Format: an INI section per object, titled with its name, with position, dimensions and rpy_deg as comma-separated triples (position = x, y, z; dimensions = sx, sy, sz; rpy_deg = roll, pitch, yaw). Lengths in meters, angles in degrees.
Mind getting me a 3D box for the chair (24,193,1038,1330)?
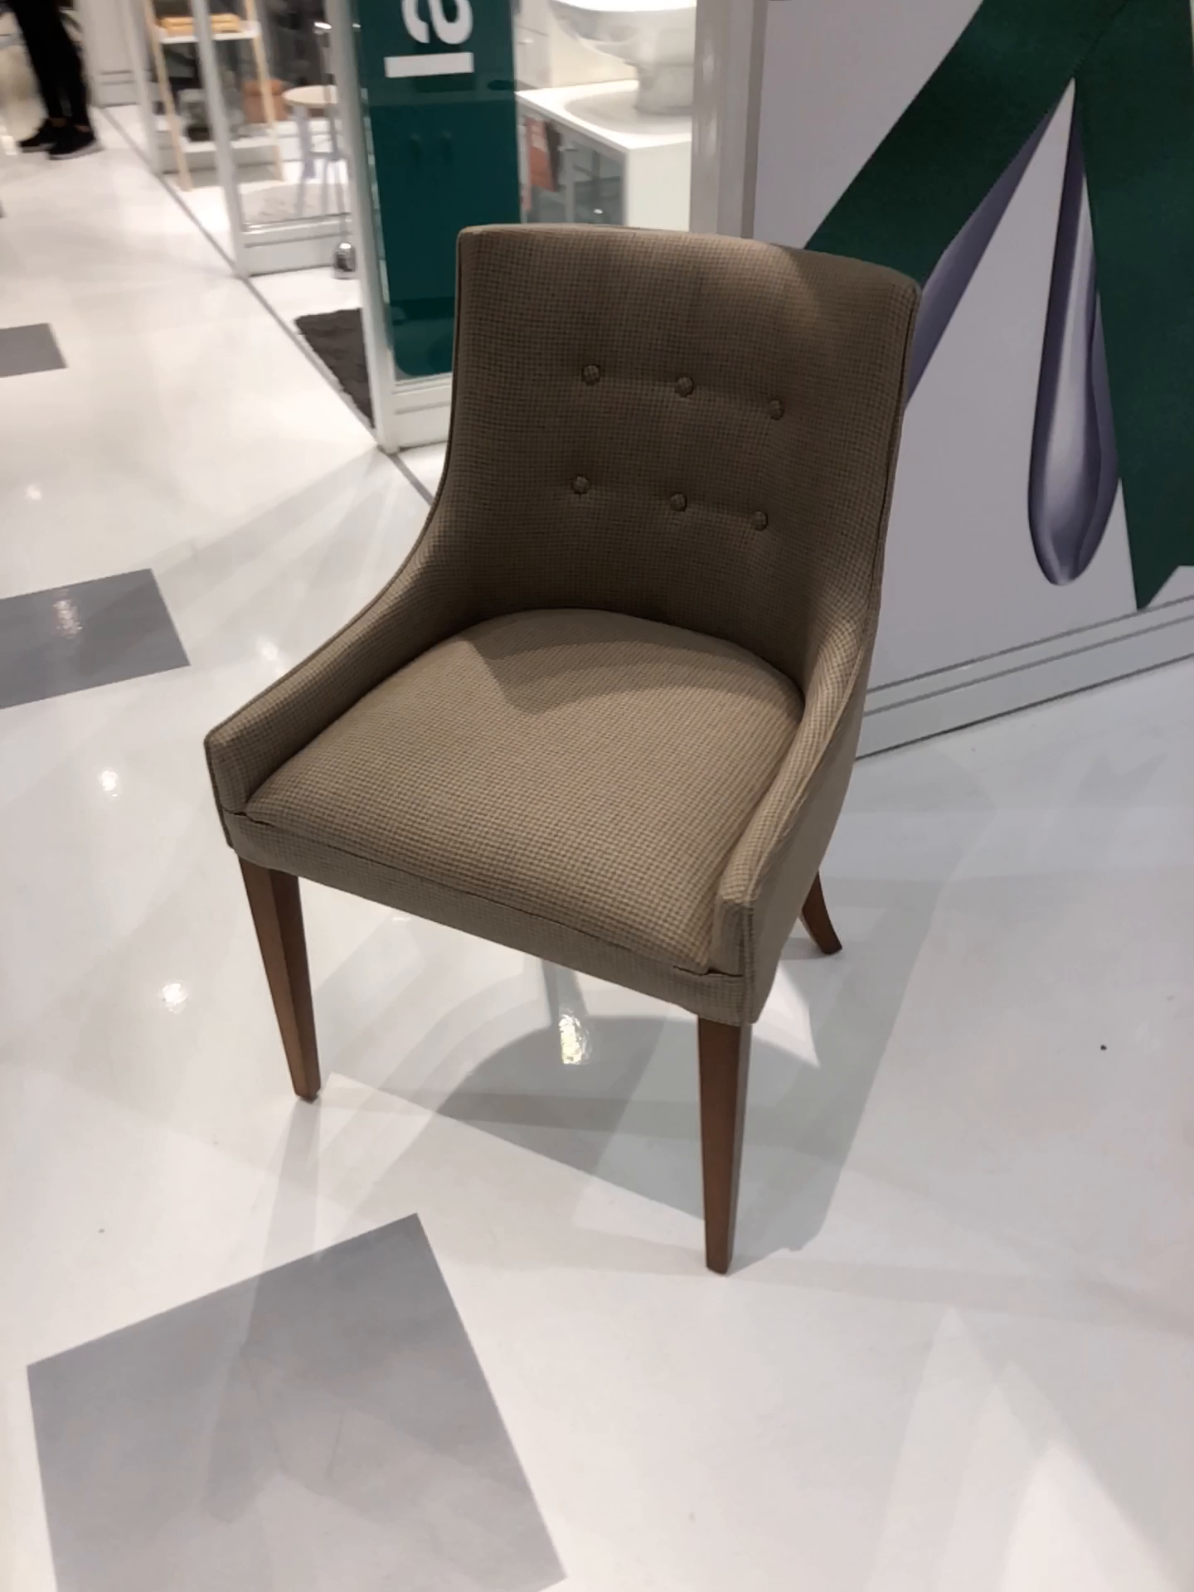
[chair]
position = -0.012, -0.069, 1.286
dimensions = 0.591, 0.794, 0.594
rpy_deg = 18, 41, 23
